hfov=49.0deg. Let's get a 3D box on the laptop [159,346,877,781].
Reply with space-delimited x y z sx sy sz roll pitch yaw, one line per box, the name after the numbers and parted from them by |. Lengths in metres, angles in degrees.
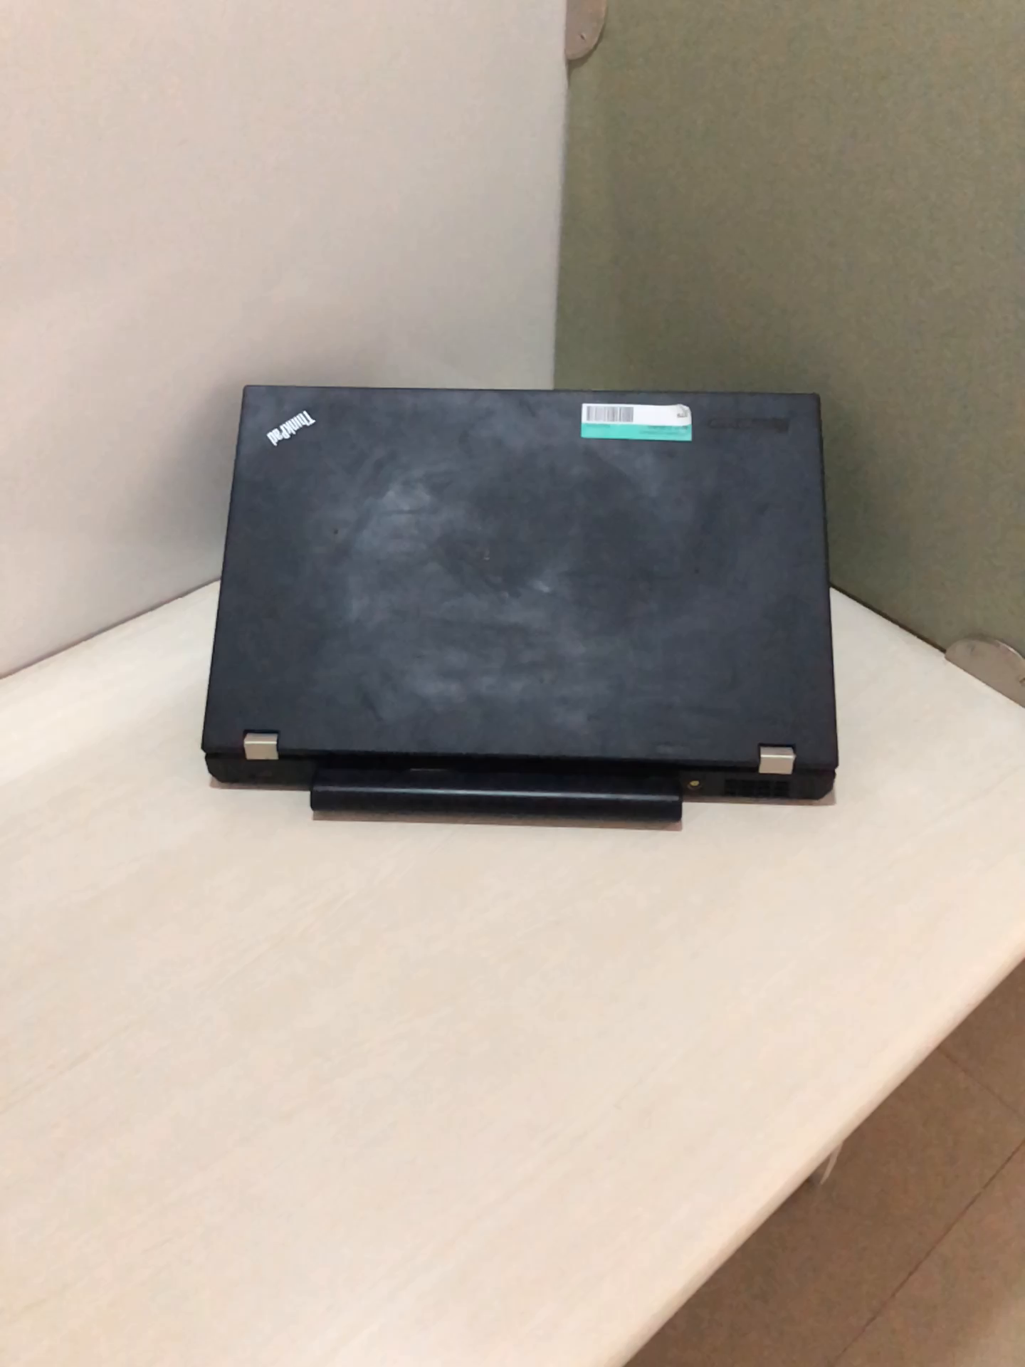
0.007 -0.081 0.684 0.354 0.140 0.233 1 44 3 | laptop
